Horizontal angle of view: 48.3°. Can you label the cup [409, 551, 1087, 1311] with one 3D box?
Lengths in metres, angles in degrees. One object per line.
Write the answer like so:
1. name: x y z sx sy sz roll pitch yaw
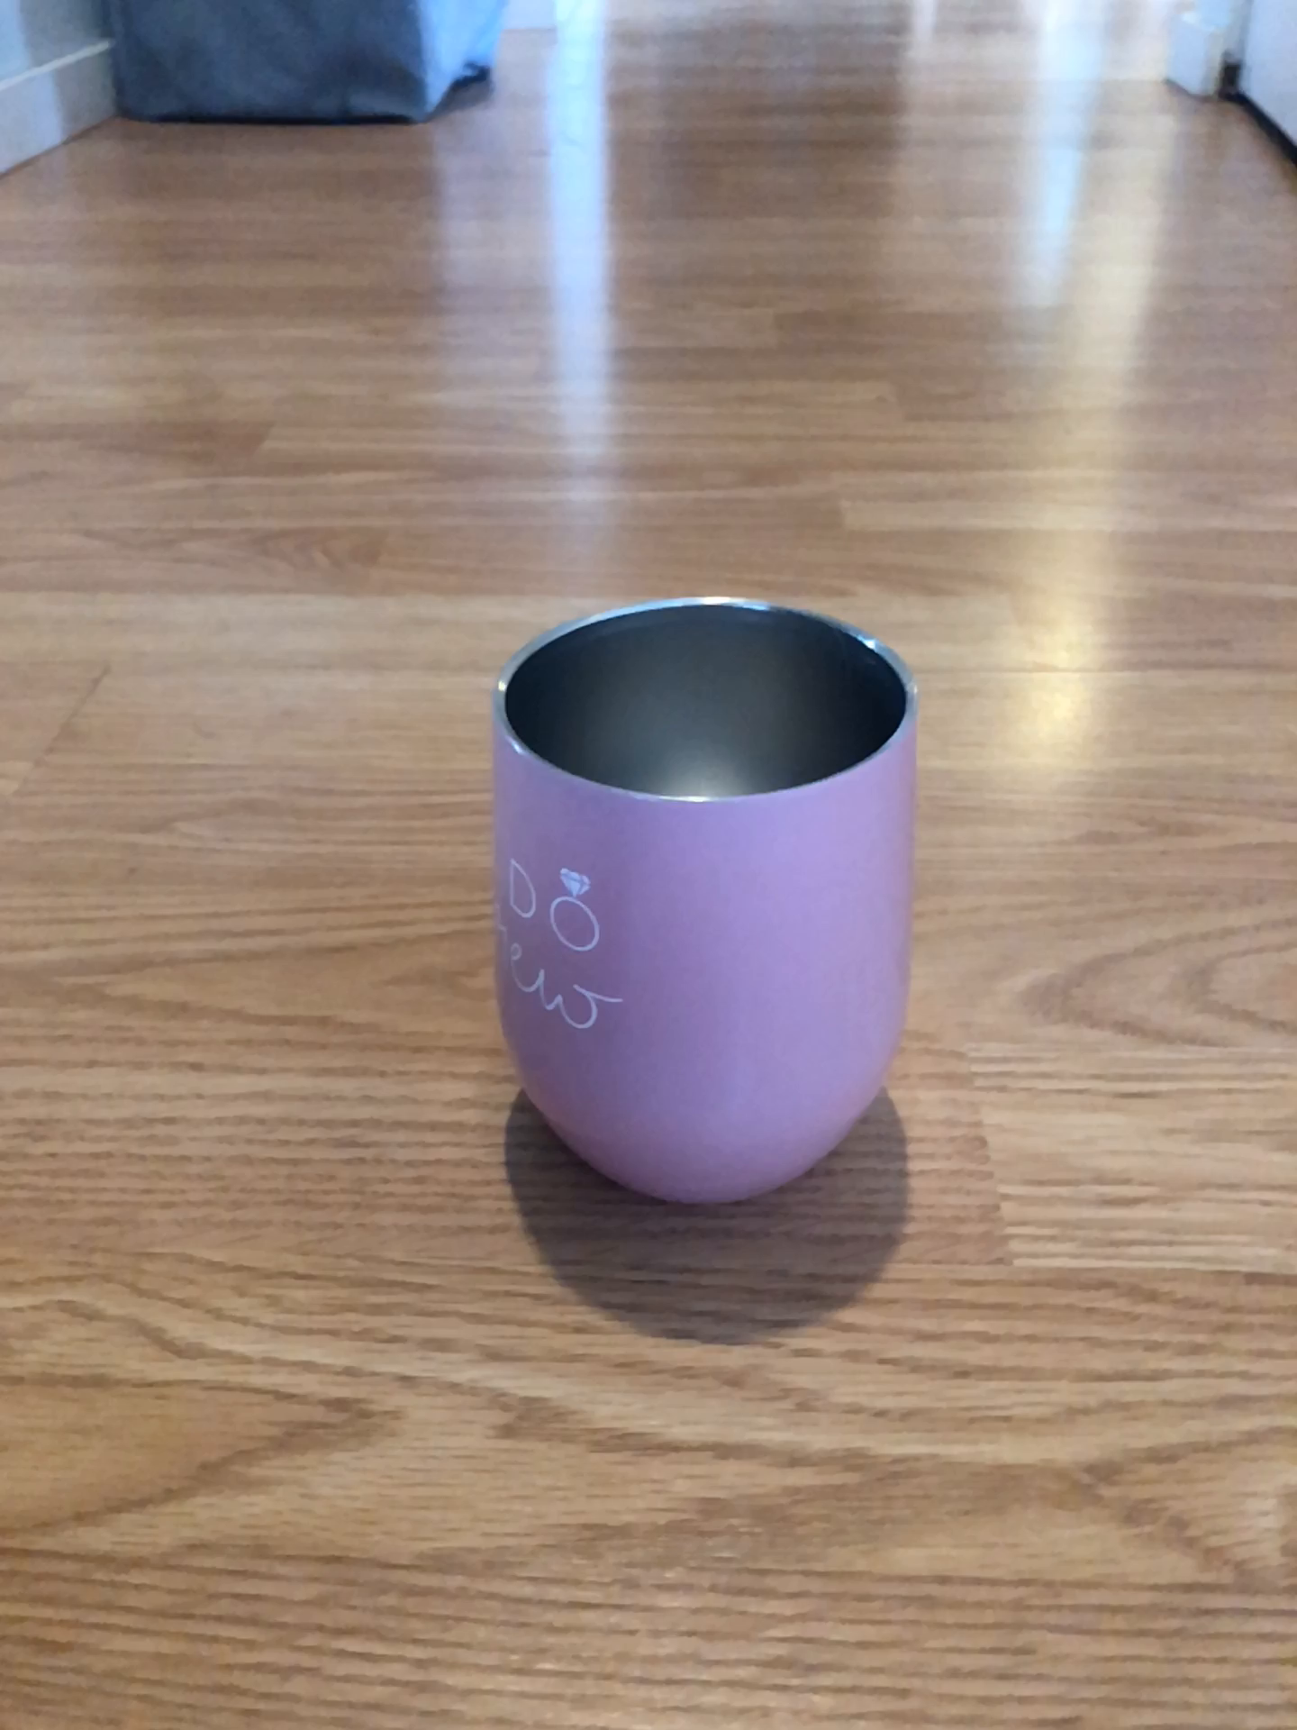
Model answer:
1. cup: 0.016 0.008 0.296 0.090 0.100 0.090 -1 35 0
